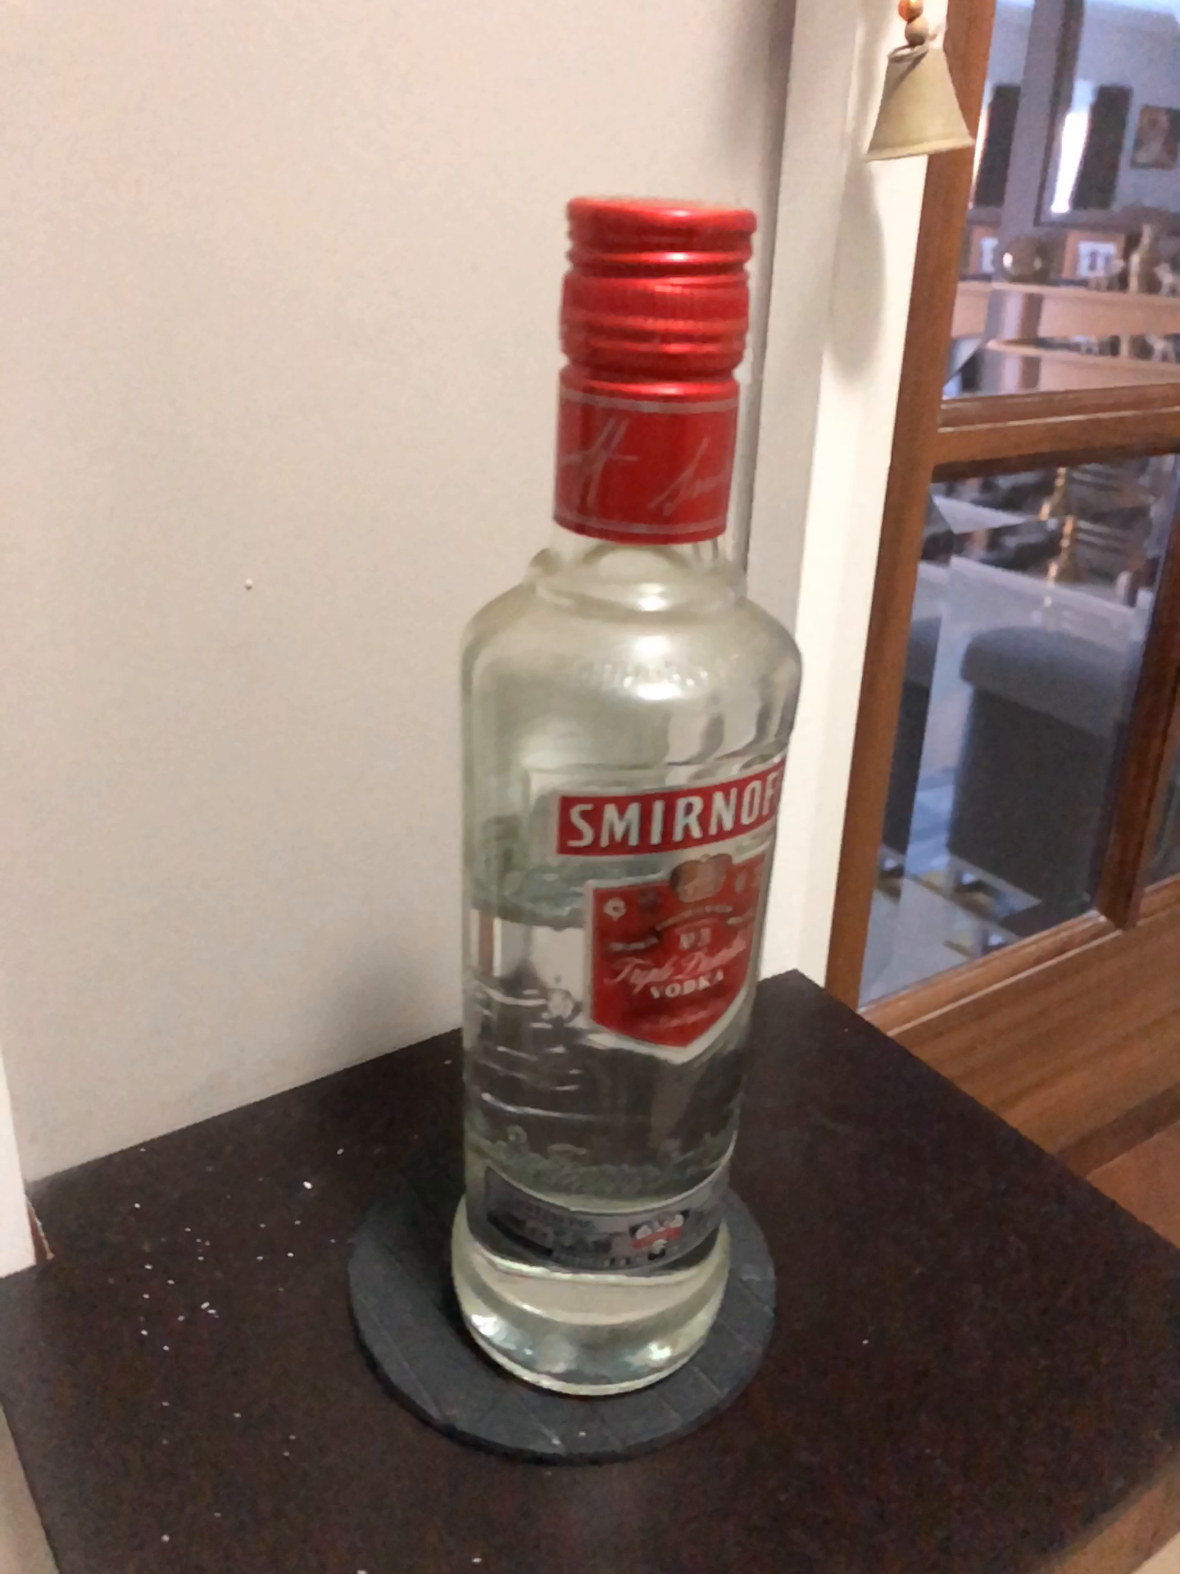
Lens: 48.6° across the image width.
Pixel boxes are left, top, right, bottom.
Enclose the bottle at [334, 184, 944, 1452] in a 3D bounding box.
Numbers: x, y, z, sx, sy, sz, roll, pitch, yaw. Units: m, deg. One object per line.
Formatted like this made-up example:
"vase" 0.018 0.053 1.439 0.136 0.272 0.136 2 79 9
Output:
"bottle" 0.000 0.008 0.249 0.070 0.219 0.070 2 24 -1
